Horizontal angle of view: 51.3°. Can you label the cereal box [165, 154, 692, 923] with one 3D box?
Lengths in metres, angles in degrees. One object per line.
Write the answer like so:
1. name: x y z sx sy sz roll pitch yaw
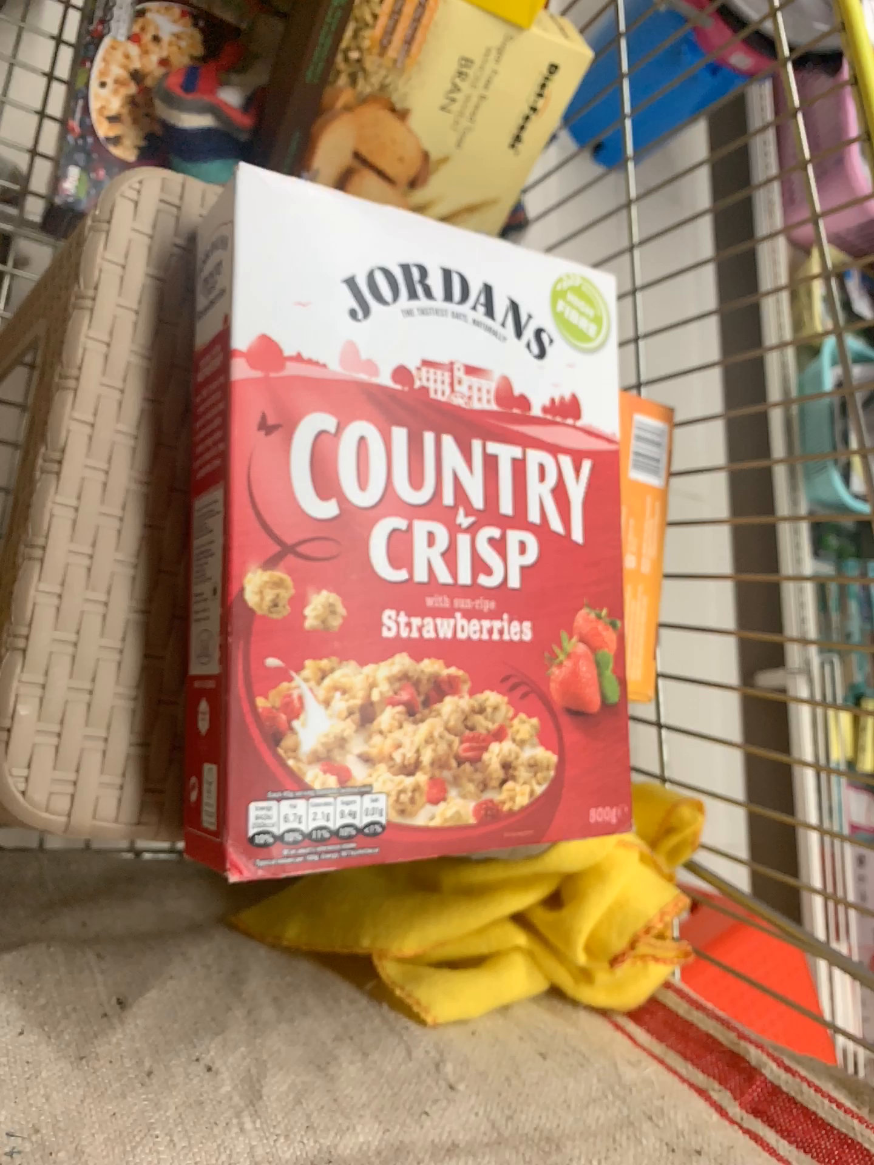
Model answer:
1. cereal box: 0.000 -0.010 0.344 0.181 0.070 0.230 4 81 -31
